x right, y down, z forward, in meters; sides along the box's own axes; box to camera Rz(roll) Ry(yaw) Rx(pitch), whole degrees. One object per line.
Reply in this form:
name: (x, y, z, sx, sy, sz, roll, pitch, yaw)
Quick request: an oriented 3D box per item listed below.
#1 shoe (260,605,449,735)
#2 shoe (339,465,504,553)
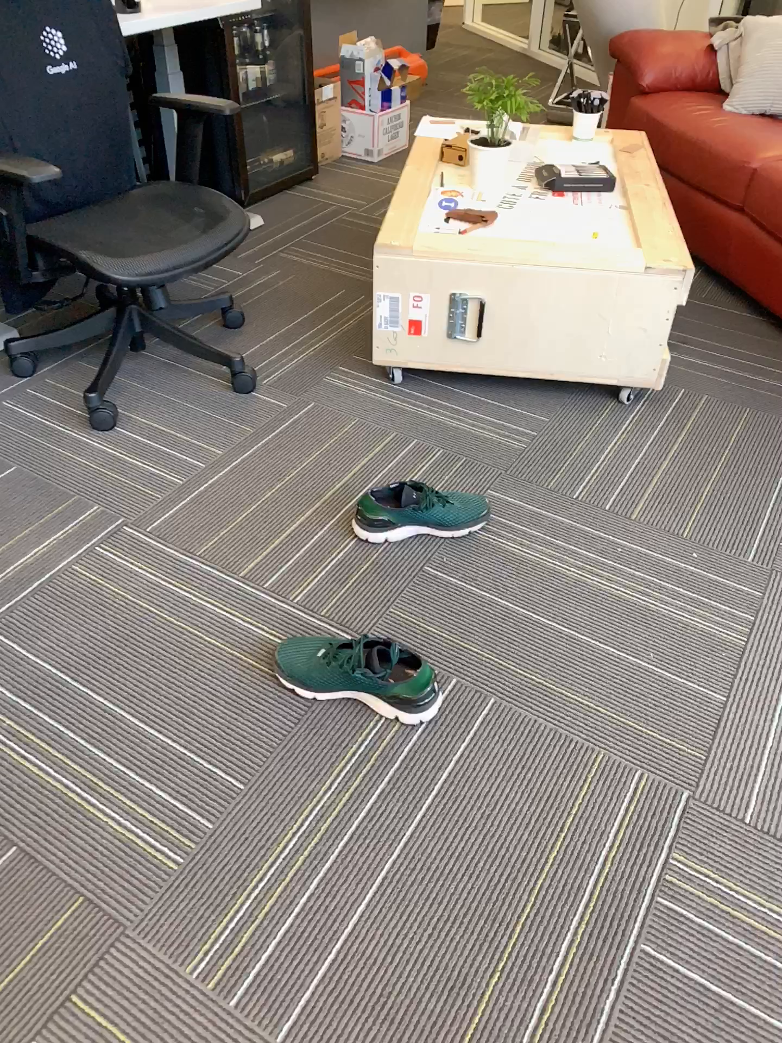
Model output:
shoe: (-0.063, 0.252, 1.364, 0.300, 0.099, 0.100, 14, 42, 14)
shoe: (0.060, -0.028, 1.667, 0.320, 0.099, 0.121, -6, 42, -9)
